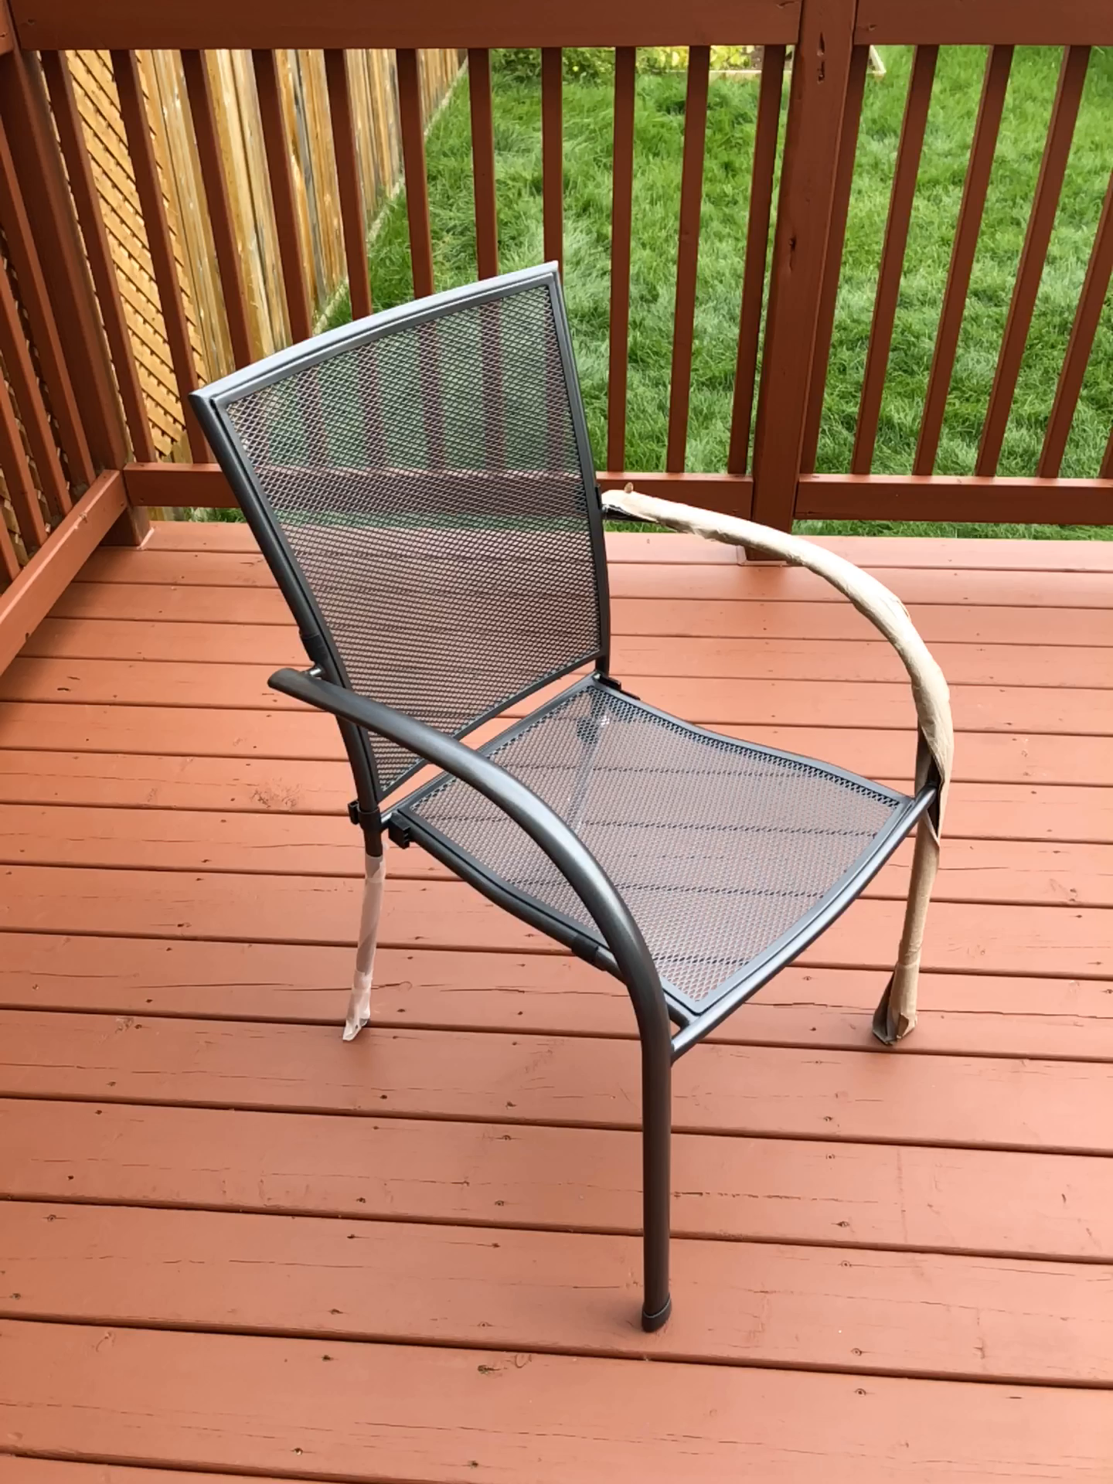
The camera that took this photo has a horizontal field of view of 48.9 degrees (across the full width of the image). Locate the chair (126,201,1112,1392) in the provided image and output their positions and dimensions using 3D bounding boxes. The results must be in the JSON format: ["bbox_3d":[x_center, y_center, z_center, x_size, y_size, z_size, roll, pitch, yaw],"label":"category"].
[{"bbox_3d":[0.088,0.028,1.315,0.651,0.926,0.601,28,47,32],"label":"chair"}]
